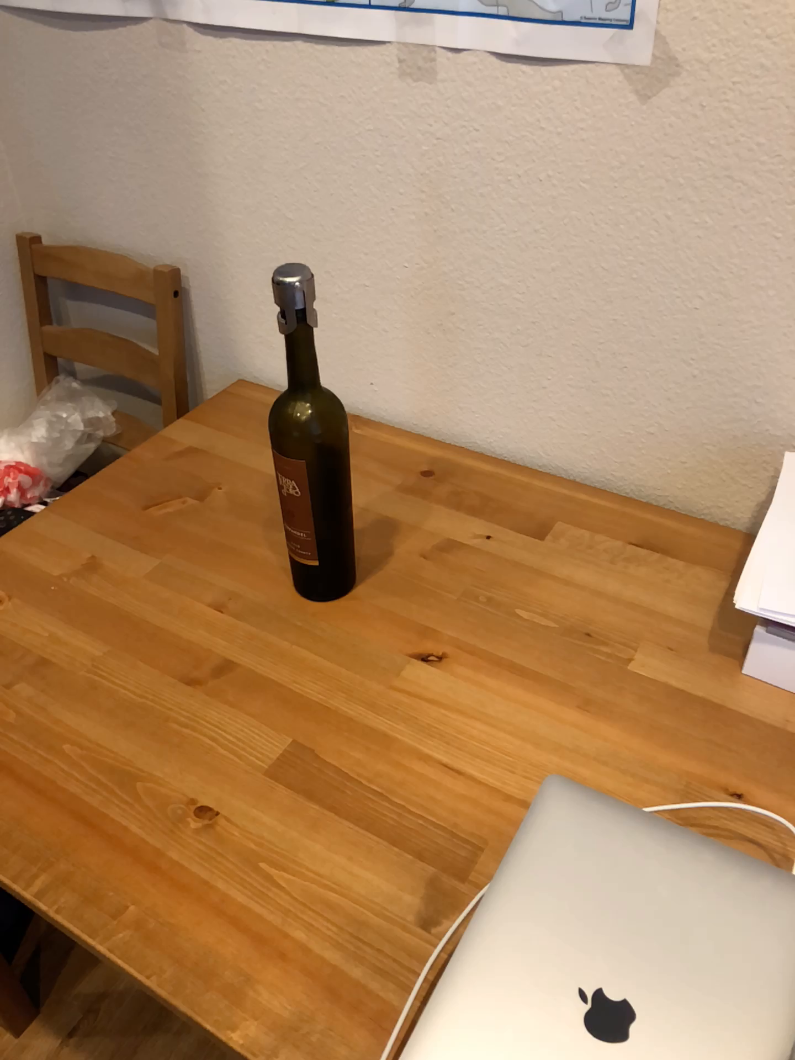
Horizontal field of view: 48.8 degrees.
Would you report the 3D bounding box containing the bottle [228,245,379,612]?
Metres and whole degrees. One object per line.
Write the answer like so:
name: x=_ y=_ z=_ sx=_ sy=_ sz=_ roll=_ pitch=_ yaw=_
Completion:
bottle: x=-0.083 y=-0.086 z=0.858 sx=0.080 sy=0.348 sz=0.080 roll=-2 pitch=38 yaw=1
